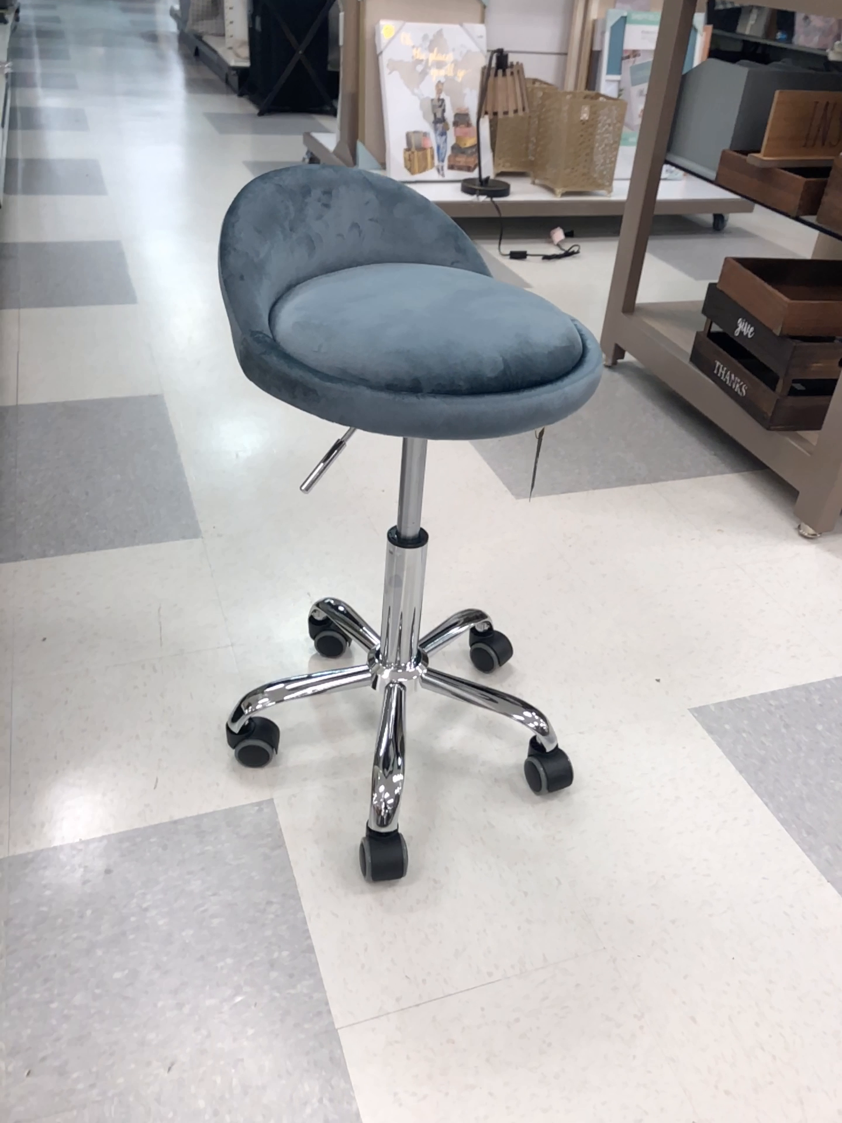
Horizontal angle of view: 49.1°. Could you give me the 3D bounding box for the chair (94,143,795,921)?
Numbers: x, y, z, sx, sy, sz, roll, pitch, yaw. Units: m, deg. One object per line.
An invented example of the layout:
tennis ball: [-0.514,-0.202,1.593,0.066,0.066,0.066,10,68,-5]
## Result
chair: [-0.005,-0.079,1.059,0.476,0.629,0.484,-22,42,-34]
